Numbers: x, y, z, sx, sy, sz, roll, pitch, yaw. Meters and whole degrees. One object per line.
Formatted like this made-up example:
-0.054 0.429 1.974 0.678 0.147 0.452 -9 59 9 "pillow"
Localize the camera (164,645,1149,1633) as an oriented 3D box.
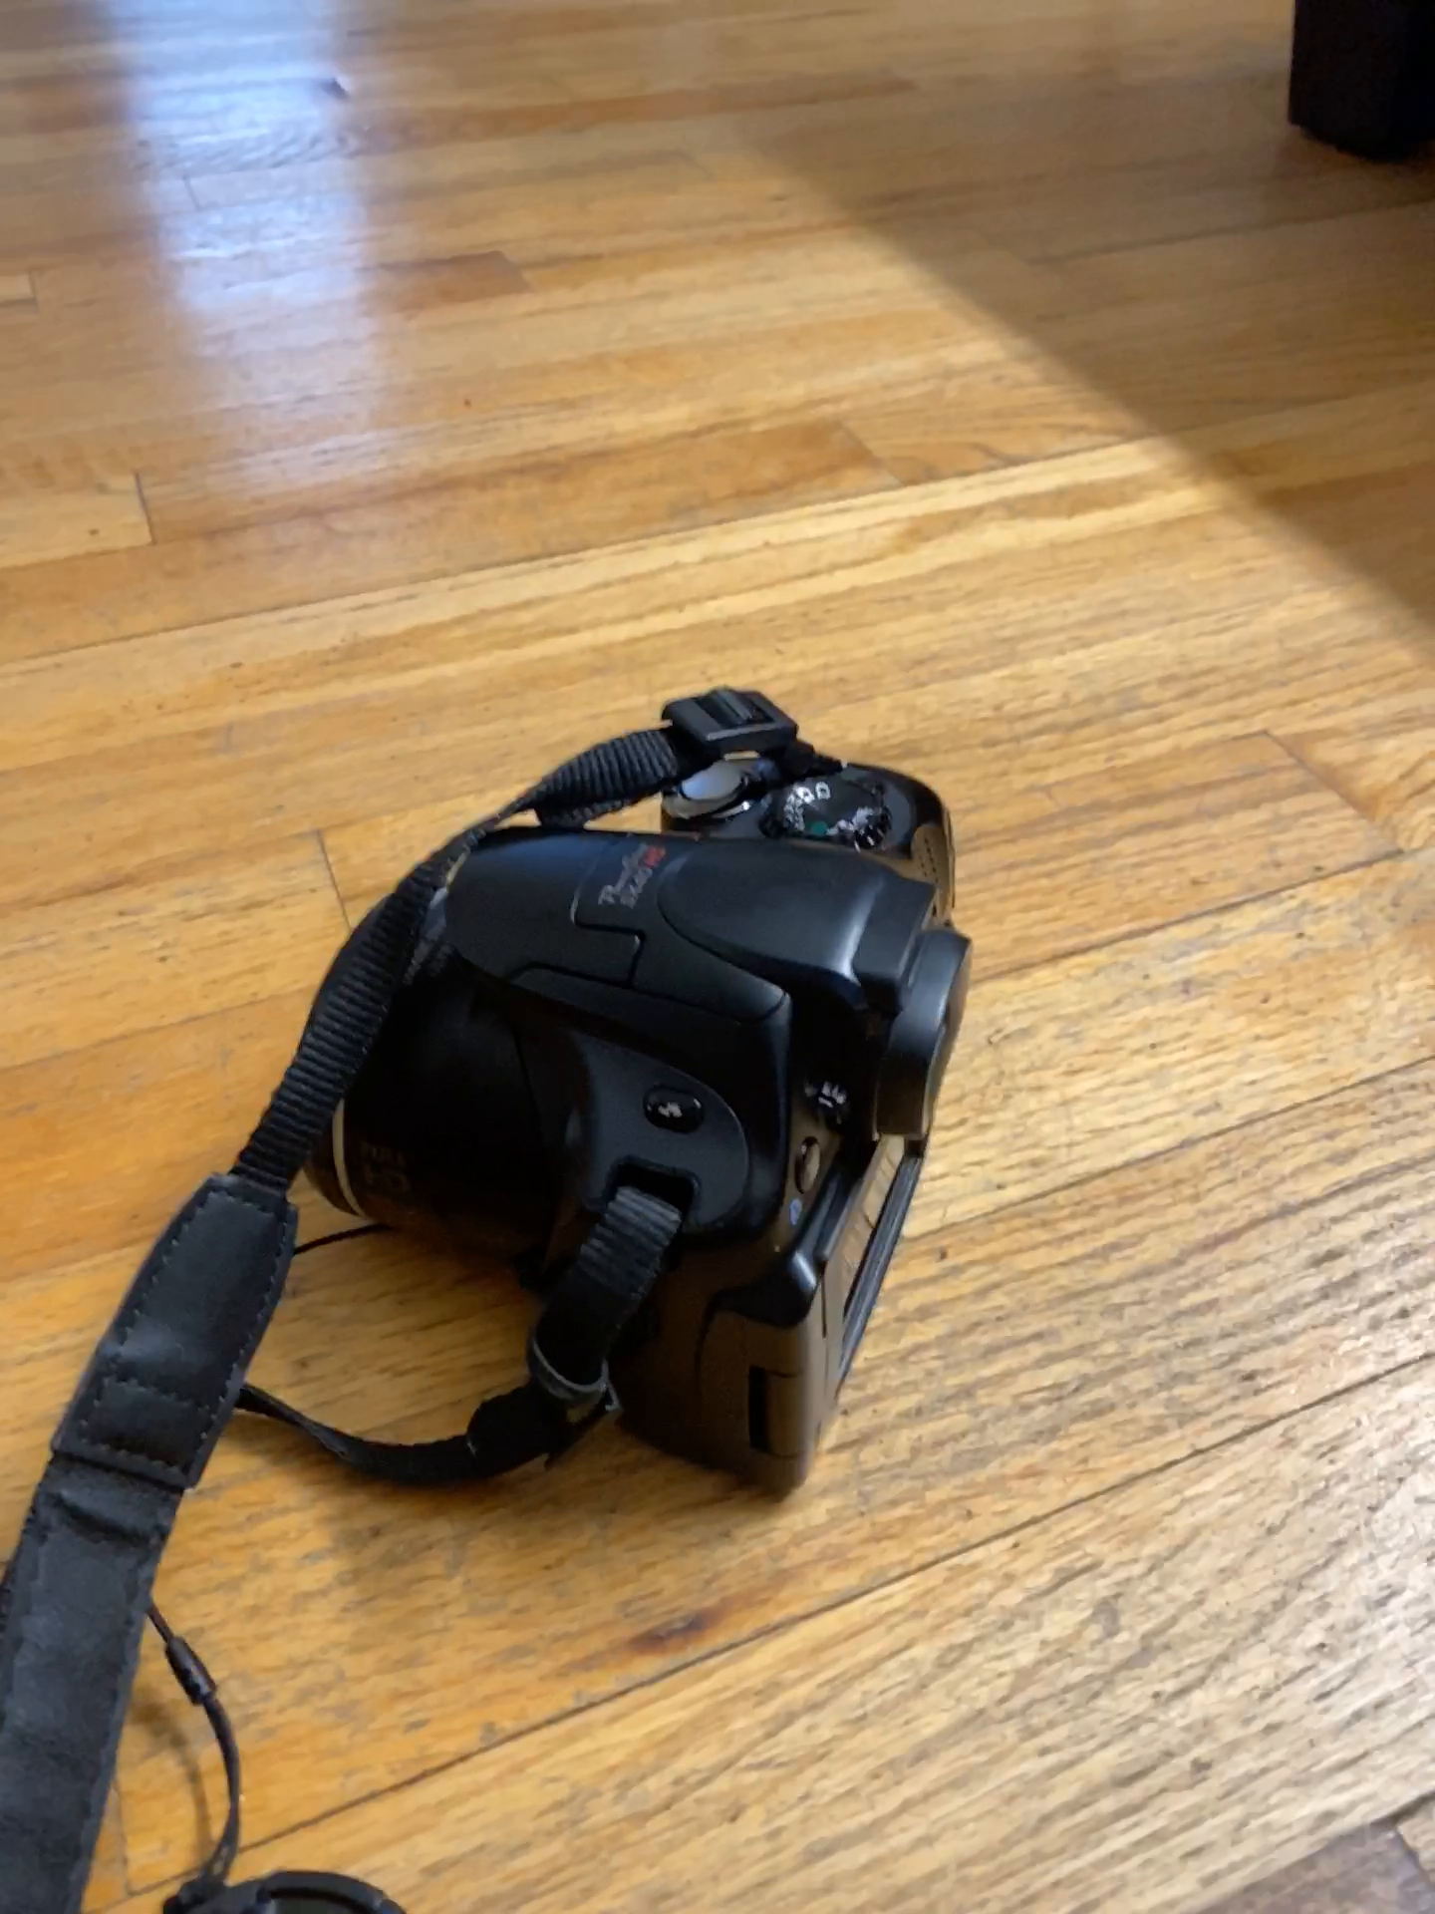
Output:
-0.002 0.024 0.270 0.120 0.089 0.121 16 45 17 "camera"
